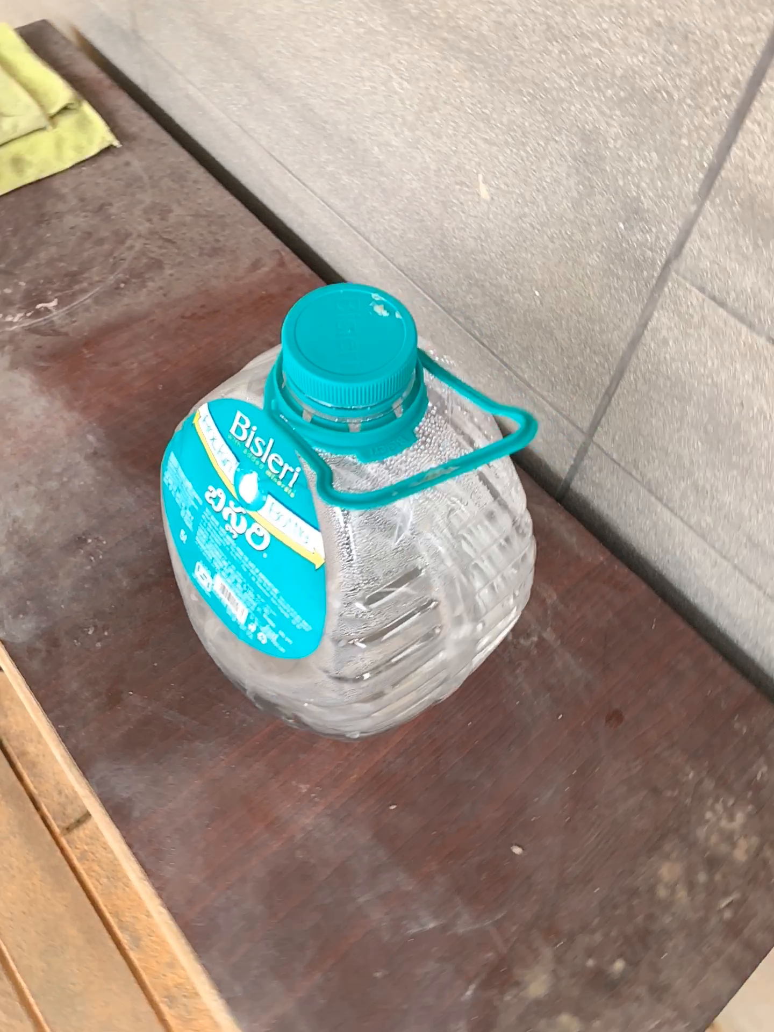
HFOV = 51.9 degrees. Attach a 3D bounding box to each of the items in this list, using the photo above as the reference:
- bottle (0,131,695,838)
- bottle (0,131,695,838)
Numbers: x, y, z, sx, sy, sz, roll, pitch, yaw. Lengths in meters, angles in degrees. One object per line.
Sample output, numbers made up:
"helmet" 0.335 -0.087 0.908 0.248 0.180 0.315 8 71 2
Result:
"bottle" -0.027 -0.006 0.387 0.180 0.220 0.200 -32 66 -22
"bottle" -0.027 -0.006 0.387 0.180 0.220 0.200 -32 66 -22
